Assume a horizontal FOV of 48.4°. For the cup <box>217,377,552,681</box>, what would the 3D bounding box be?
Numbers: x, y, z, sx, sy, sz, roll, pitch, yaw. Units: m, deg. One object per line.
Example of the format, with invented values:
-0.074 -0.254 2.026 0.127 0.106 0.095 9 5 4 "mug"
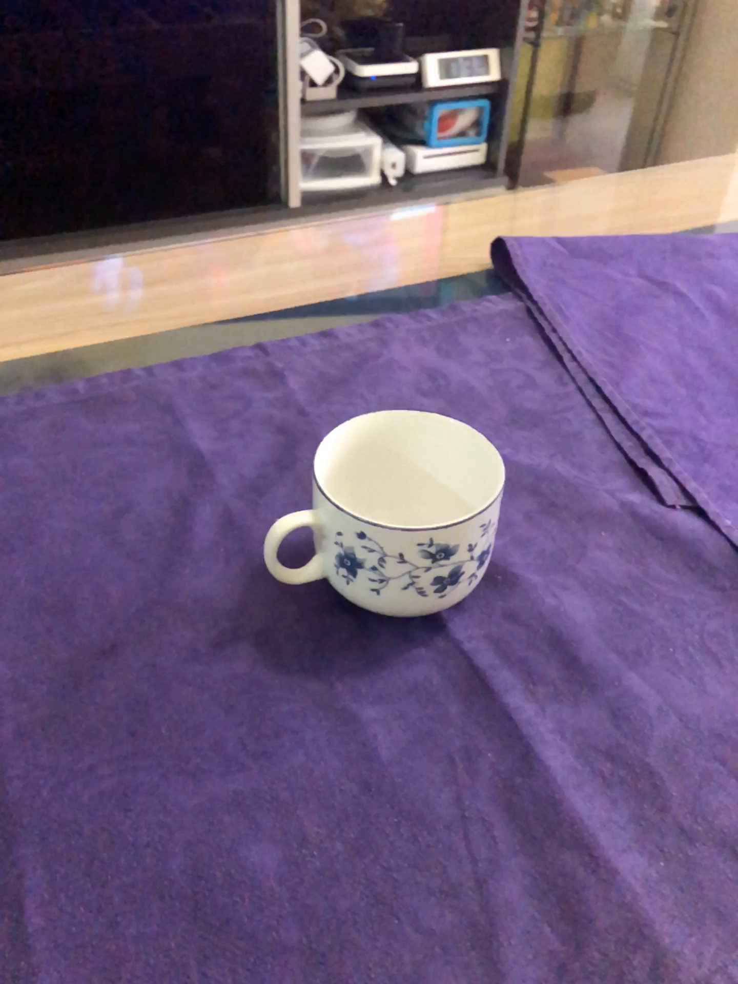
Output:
0.004 0.010 0.317 0.100 0.060 0.070 -18 45 -23 "cup"
